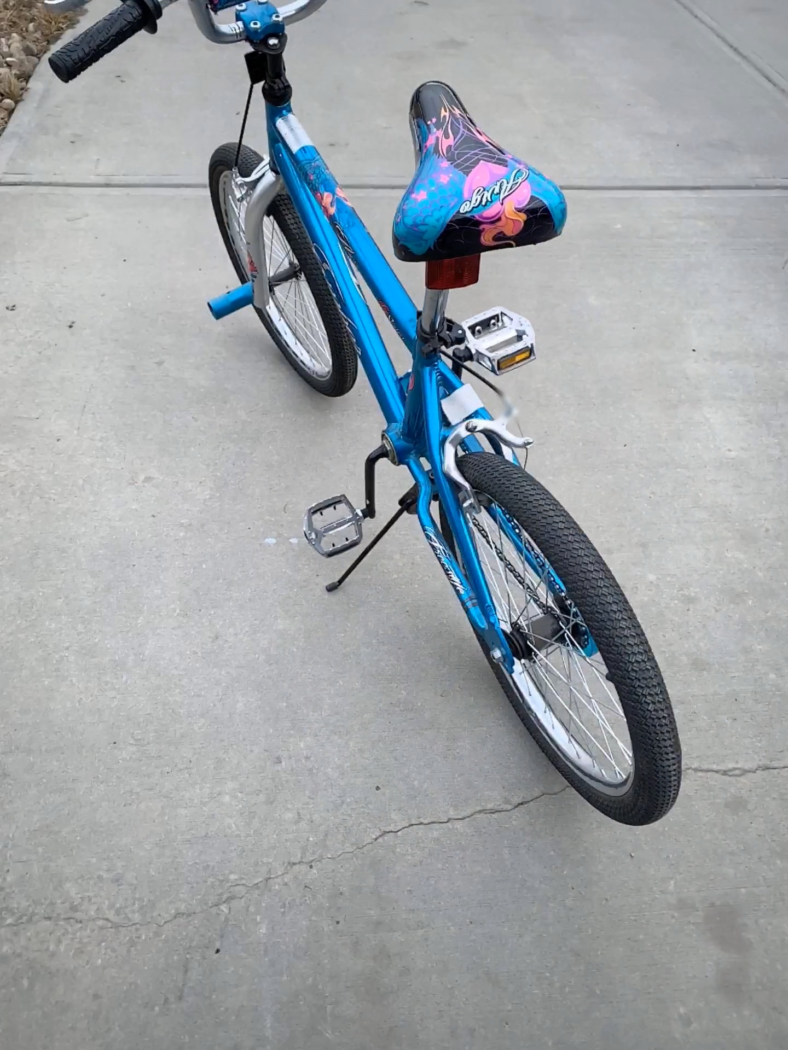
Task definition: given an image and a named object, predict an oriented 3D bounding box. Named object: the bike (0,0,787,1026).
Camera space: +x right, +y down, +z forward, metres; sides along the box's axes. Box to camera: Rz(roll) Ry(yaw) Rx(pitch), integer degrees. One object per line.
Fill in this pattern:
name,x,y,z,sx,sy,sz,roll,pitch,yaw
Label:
bike,-0.102,-0.252,1.103,0.681,0.837,1.390,-20,55,-20
